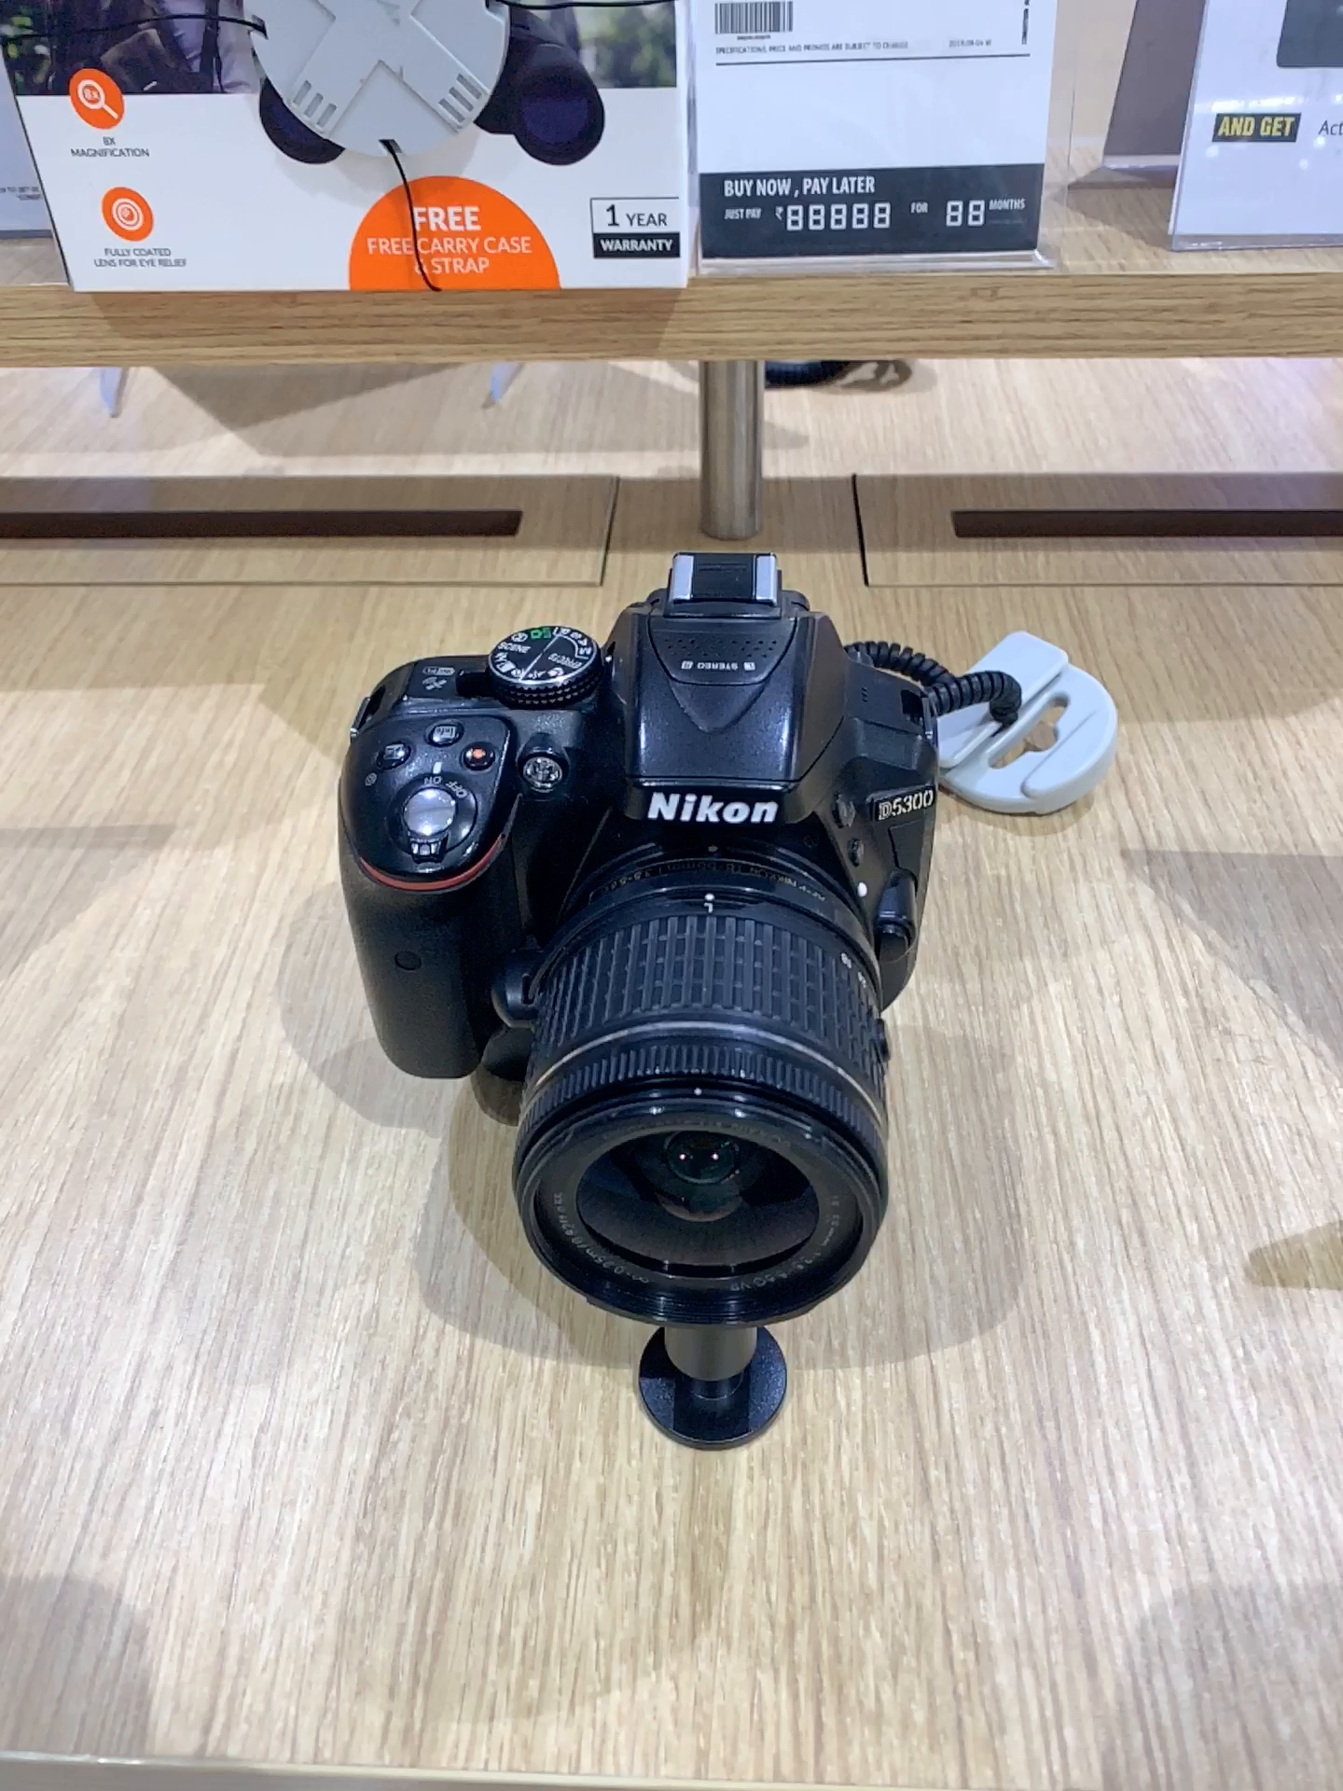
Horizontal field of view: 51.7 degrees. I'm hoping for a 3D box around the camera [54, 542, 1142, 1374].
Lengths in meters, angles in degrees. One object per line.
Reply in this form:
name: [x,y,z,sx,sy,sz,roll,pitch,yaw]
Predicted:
camera: [-0.008,0.005,0.237,0.130,0.080,0.120,-1,41,1]
